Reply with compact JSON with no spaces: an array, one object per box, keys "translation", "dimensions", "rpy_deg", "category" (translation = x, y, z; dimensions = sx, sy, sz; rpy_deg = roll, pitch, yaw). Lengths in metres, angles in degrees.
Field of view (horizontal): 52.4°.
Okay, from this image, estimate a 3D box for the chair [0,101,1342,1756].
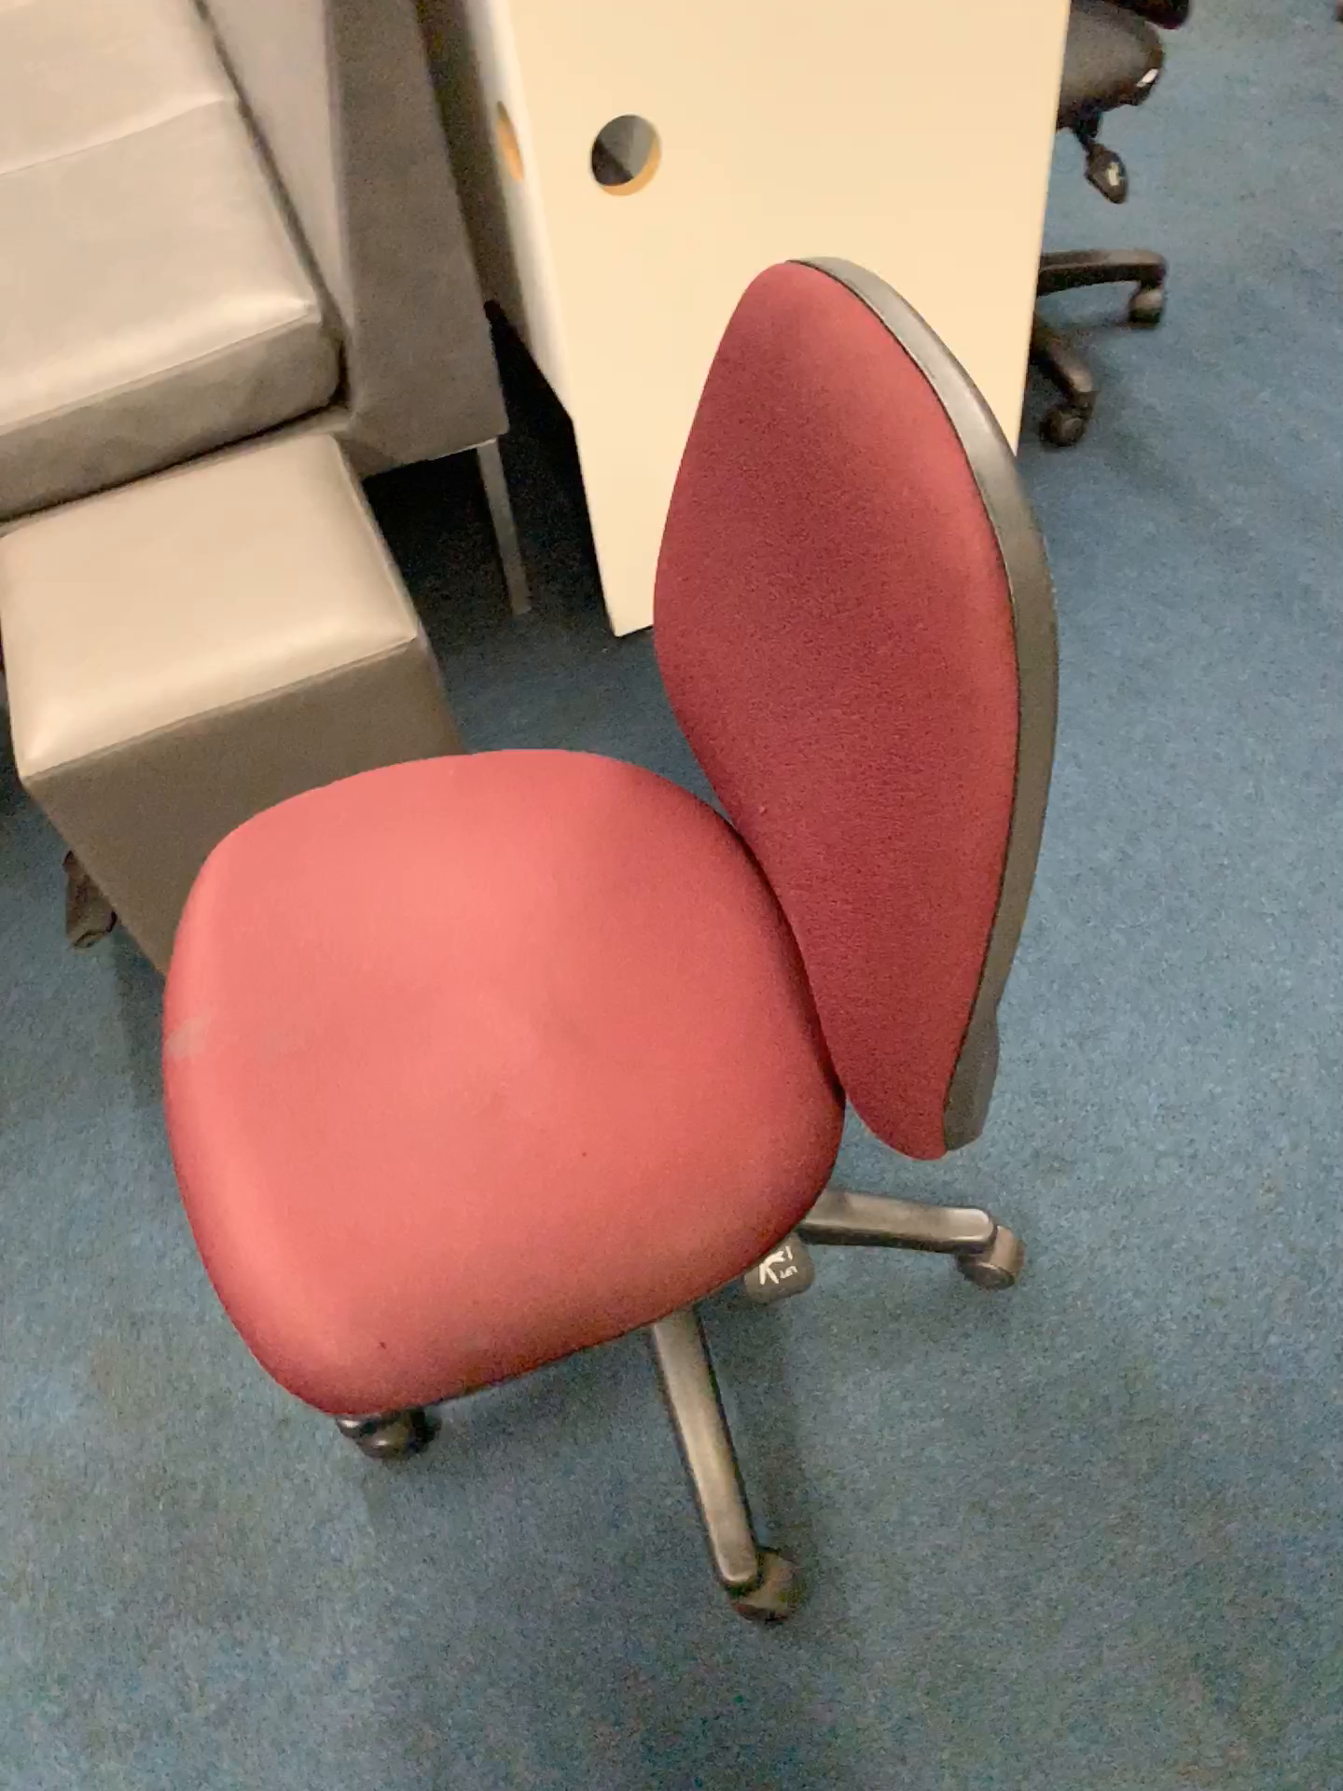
[{"translation":[-0.047,0.069,0.955],"dimensions":[0.690,0.783,0.655],"rpy_deg":[-17,52,-5],"category":"chair"}]
